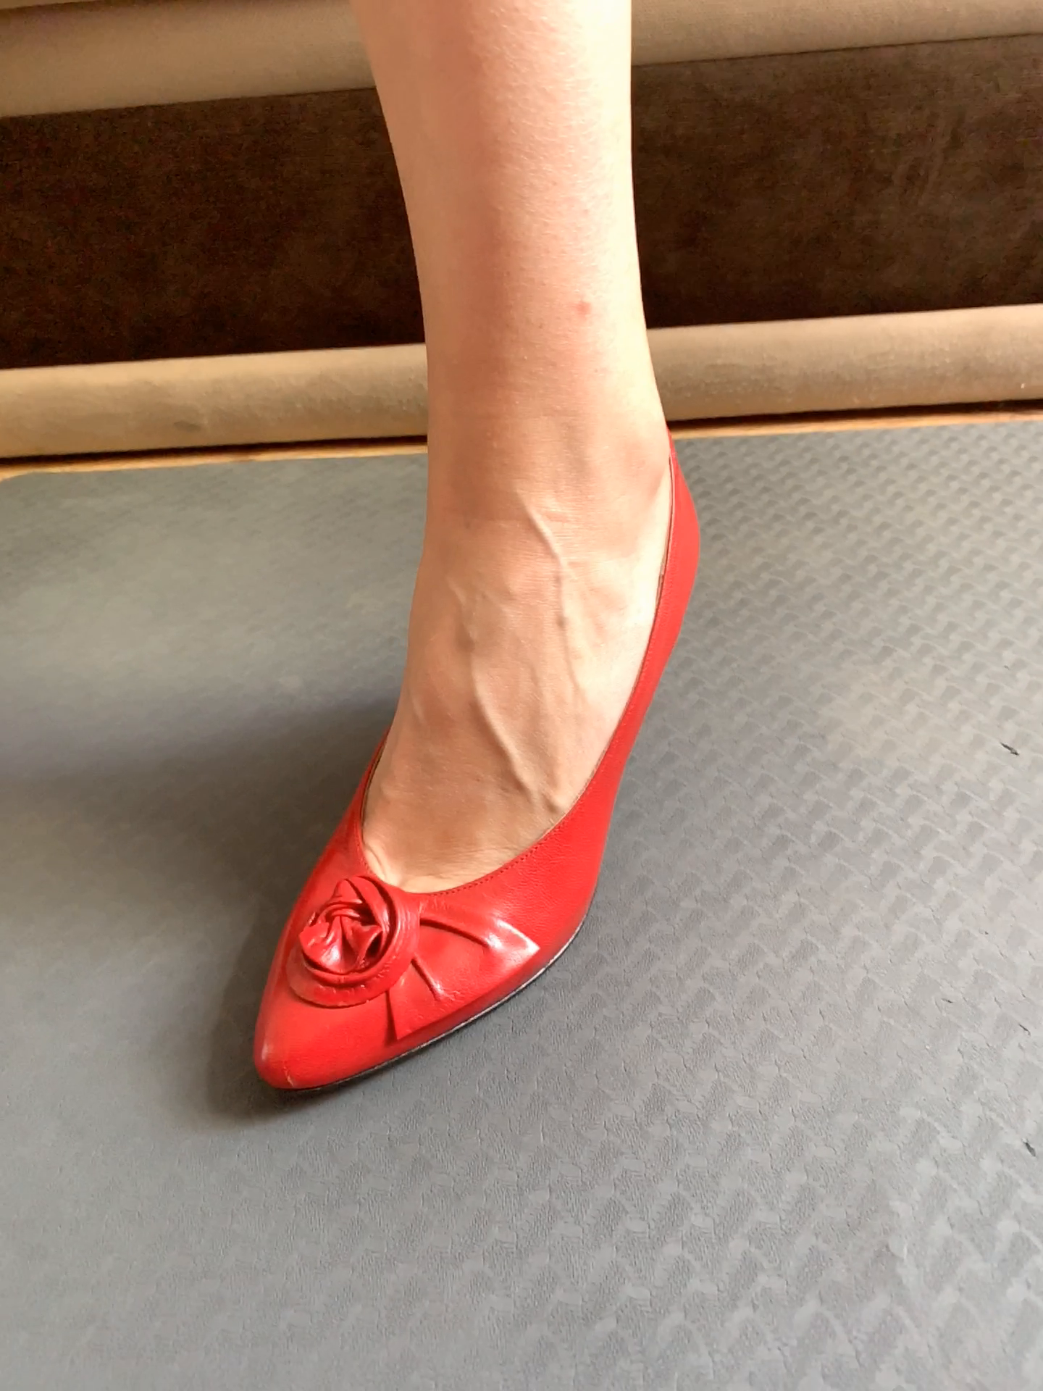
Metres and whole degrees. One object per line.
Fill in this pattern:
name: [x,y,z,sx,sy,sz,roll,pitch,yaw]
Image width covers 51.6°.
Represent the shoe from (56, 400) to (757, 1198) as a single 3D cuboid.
shoe: [-0.008,0.009,0.315,0.080,0.109,0.211,15,40,26]
